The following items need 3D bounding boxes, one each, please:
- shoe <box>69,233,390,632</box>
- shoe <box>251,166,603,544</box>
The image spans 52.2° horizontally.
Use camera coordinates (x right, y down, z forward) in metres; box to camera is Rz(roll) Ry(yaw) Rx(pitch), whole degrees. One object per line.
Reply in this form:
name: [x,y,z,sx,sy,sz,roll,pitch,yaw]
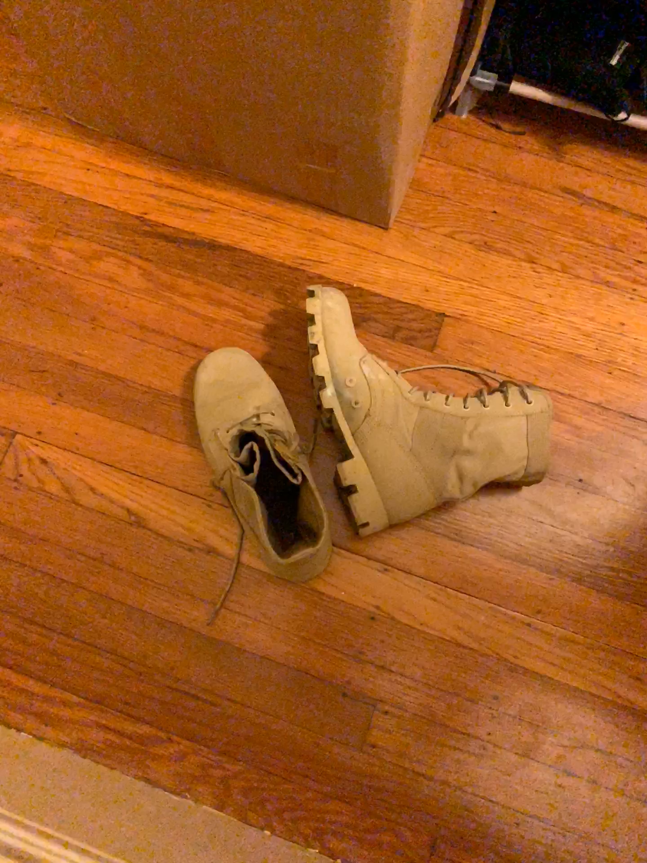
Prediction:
shoe: [-0.086,0.013,0.651,0.190,0.200,0.300,-18,76,-4]
shoe: [0.095,-0.071,0.688,0.250,0.120,0.310,-17,76,4]
